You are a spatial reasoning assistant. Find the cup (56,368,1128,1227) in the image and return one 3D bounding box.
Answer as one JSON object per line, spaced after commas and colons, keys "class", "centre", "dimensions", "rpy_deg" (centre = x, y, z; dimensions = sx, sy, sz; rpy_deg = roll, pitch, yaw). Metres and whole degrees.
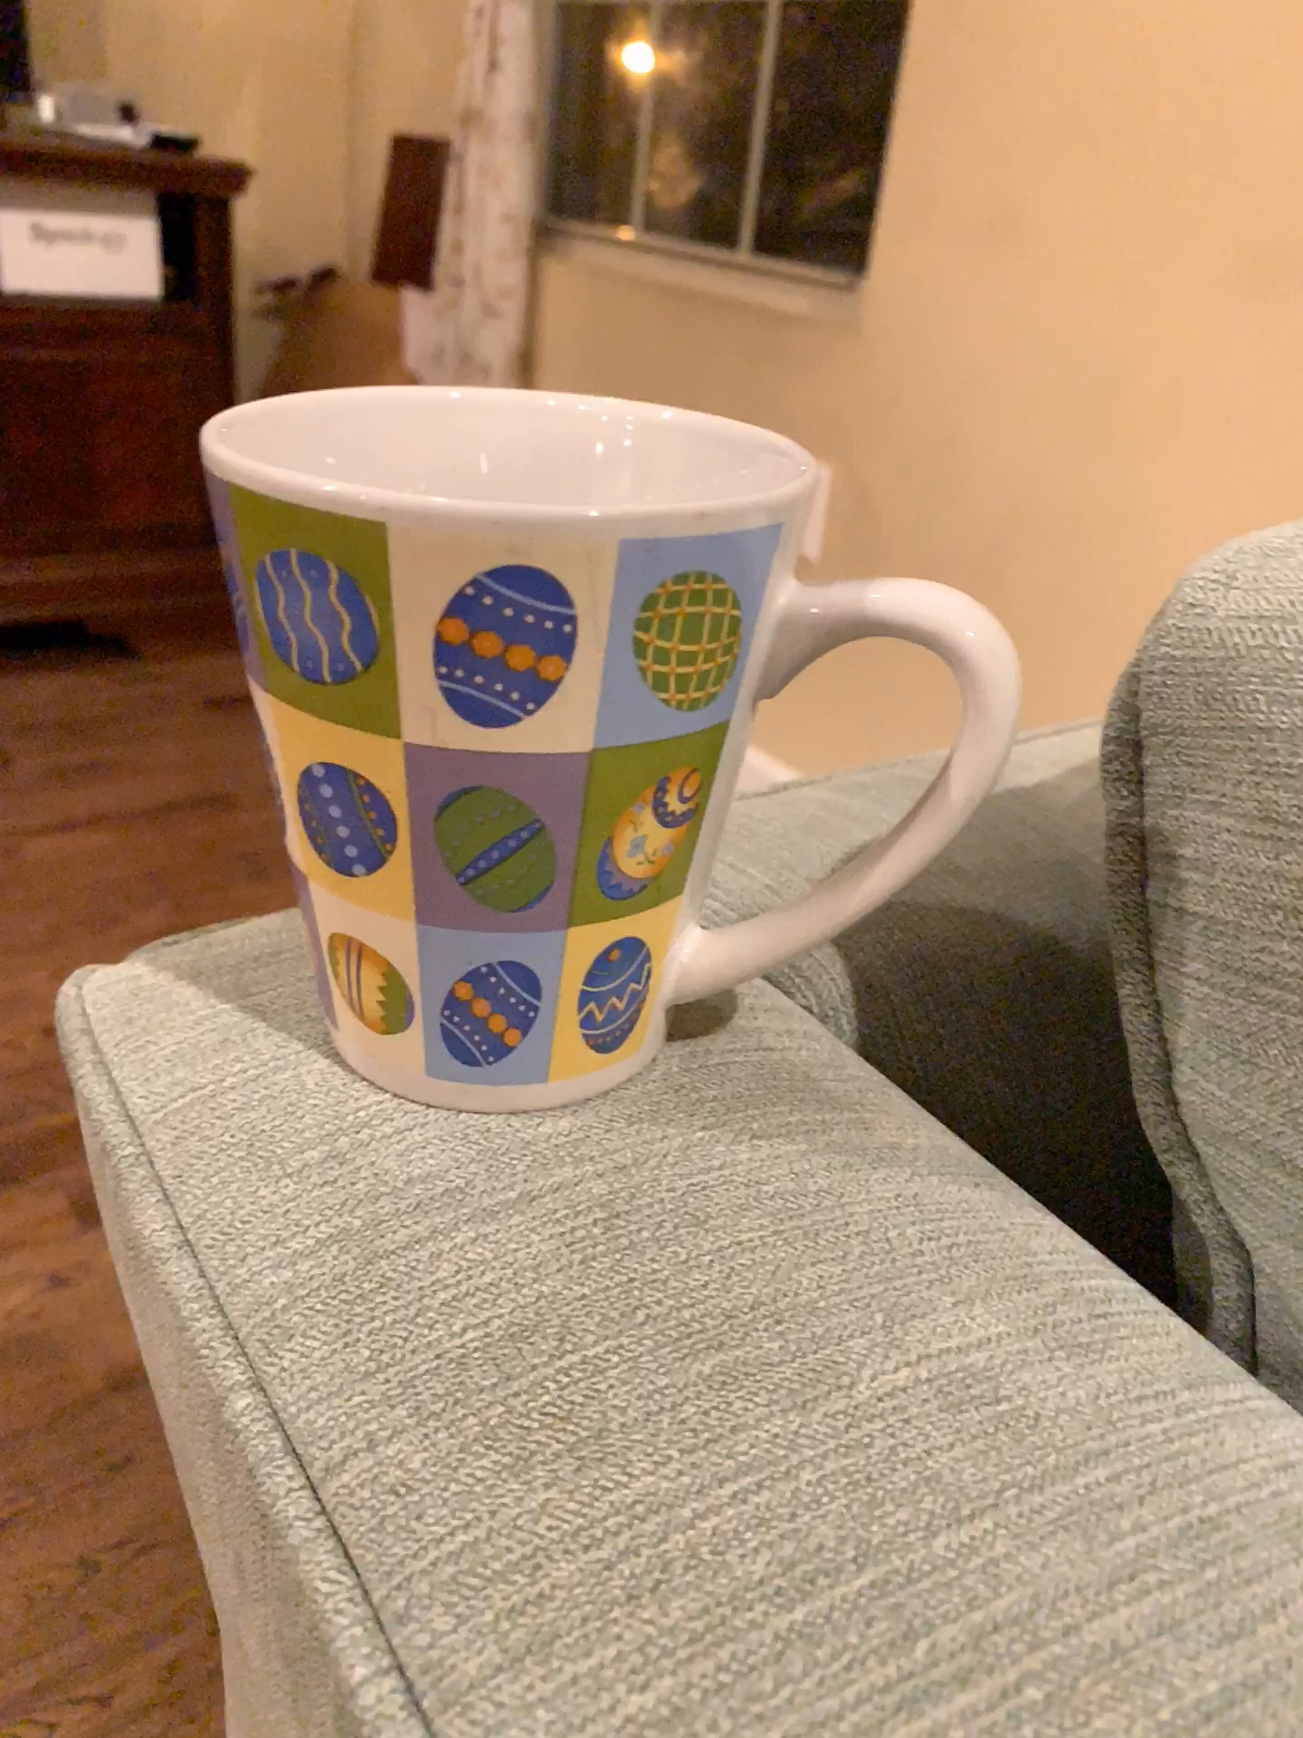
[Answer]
{"class": "cup", "centre": [-0.005, -0.021, 0.213], "dimensions": [0.122, 0.087, 0.096], "rpy_deg": [9, 27, 7]}
